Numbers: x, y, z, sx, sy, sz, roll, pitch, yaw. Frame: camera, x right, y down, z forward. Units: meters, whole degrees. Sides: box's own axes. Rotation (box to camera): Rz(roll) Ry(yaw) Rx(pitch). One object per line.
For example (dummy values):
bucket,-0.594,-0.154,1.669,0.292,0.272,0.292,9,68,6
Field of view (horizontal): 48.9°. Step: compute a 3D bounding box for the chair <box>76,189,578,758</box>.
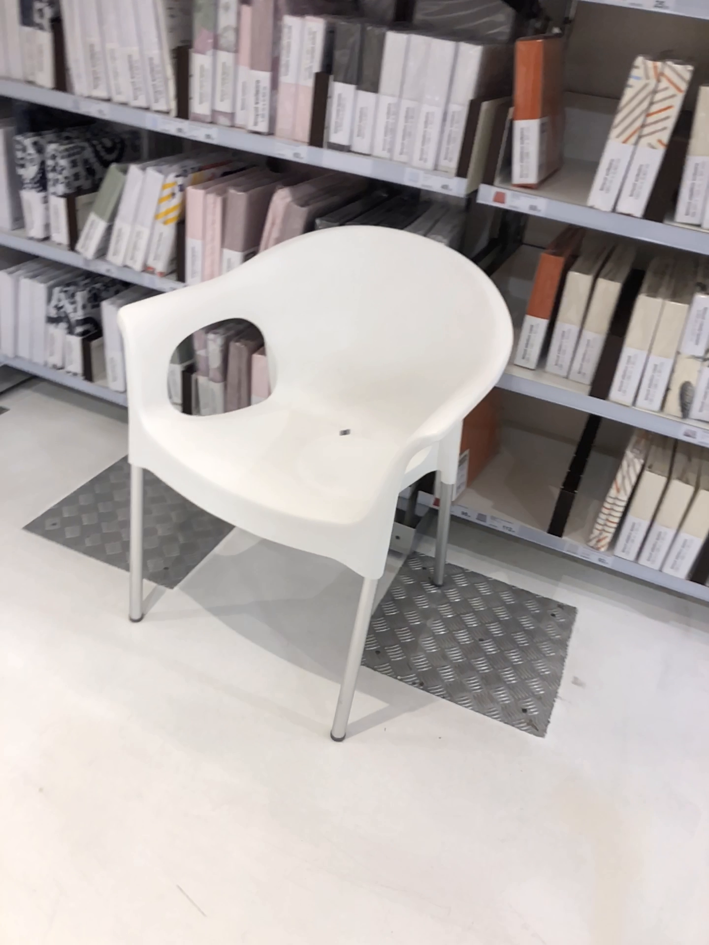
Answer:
chair,-0.053,-0.049,1.417,0.591,0.704,0.553,23,35,23
